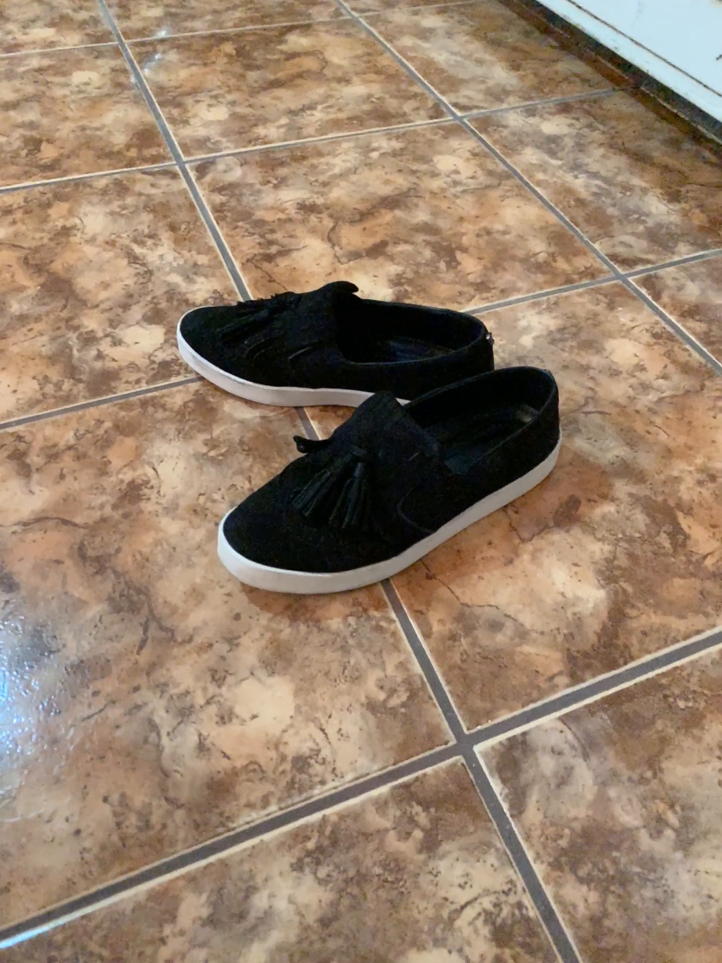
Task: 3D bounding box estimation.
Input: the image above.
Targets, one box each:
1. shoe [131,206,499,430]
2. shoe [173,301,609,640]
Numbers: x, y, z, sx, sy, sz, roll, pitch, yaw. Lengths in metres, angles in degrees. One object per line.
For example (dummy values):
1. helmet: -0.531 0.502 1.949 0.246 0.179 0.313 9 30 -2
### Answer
1. shoe: -0.030 -0.126 0.564 0.249 0.093 0.098 10 50 4
2. shoe: 0.022 -0.015 0.475 0.250 0.093 0.098 -24 56 -22
